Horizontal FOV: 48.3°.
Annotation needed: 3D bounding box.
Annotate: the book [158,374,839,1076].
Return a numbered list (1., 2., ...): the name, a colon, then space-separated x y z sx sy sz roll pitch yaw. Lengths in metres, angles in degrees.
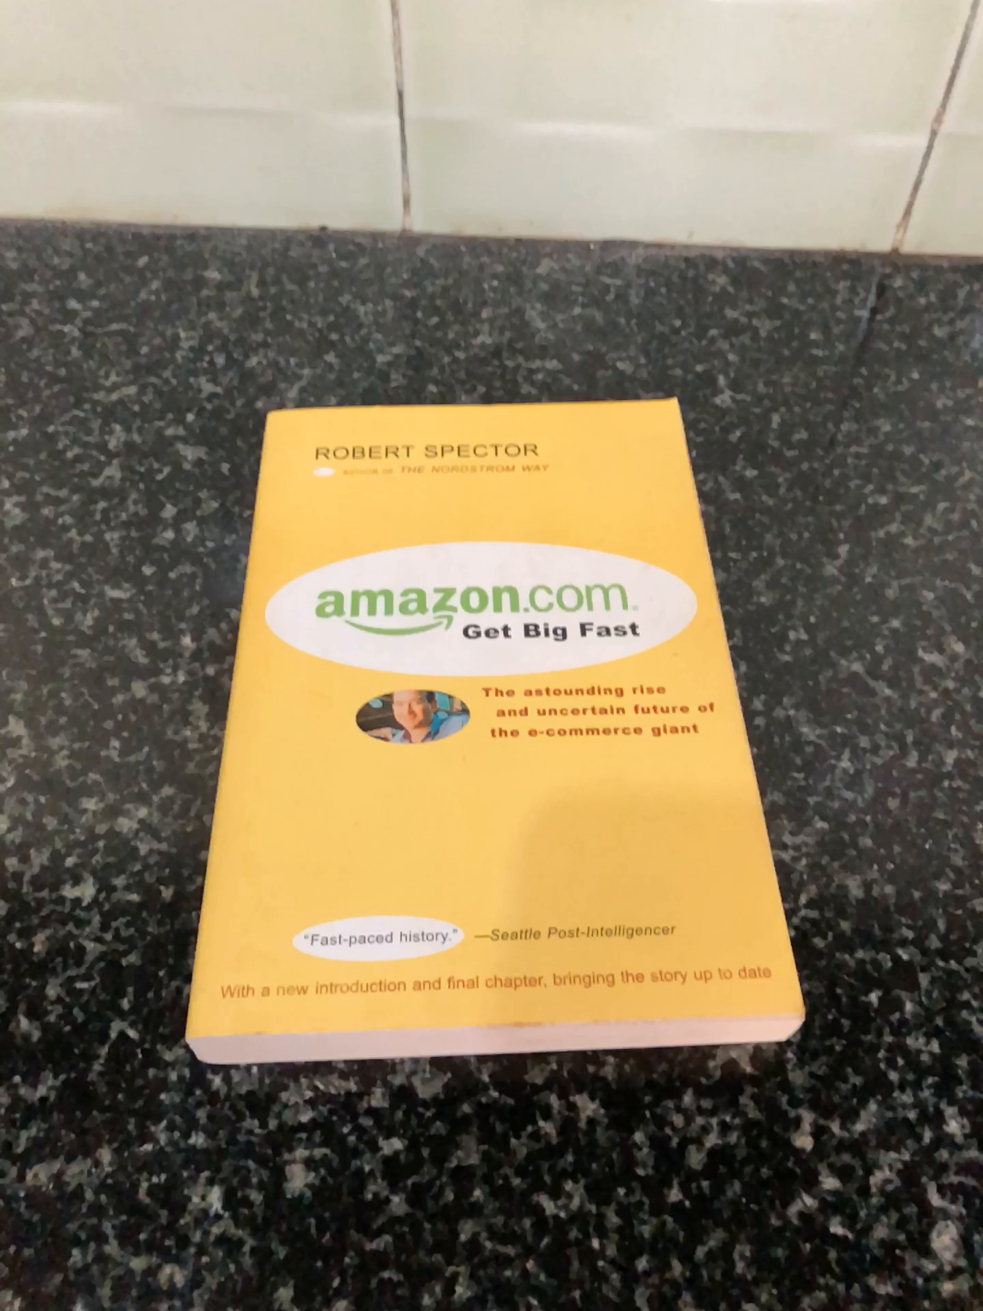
1. book: -0.001 0.002 0.302 0.140 0.030 0.211 -1 52 -1
